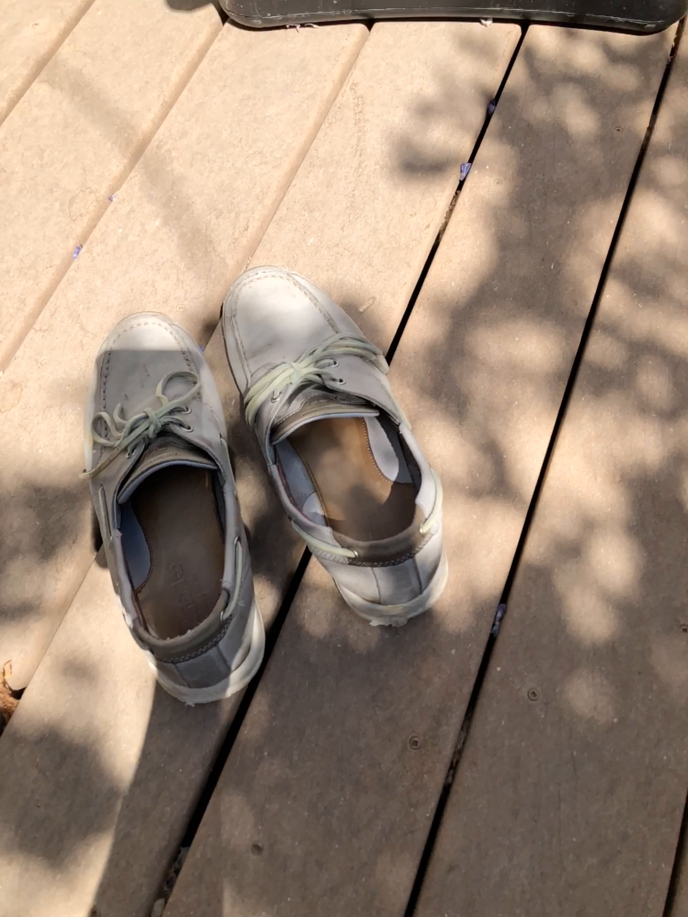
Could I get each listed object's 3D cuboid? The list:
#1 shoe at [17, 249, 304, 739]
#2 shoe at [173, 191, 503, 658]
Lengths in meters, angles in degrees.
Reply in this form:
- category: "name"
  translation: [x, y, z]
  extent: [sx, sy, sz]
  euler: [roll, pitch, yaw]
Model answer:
- category: "shoe"
  translation: [-0.123, 0.013, 0.491]
  extent: [0.109, 0.076, 0.294]
  euler: [-17, 66, -5]
- category: "shoe"
  translation: [-0.014, -0.032, 0.506]
  extent: [0.109, 0.076, 0.294]
  euler: [-20, 66, -6]
